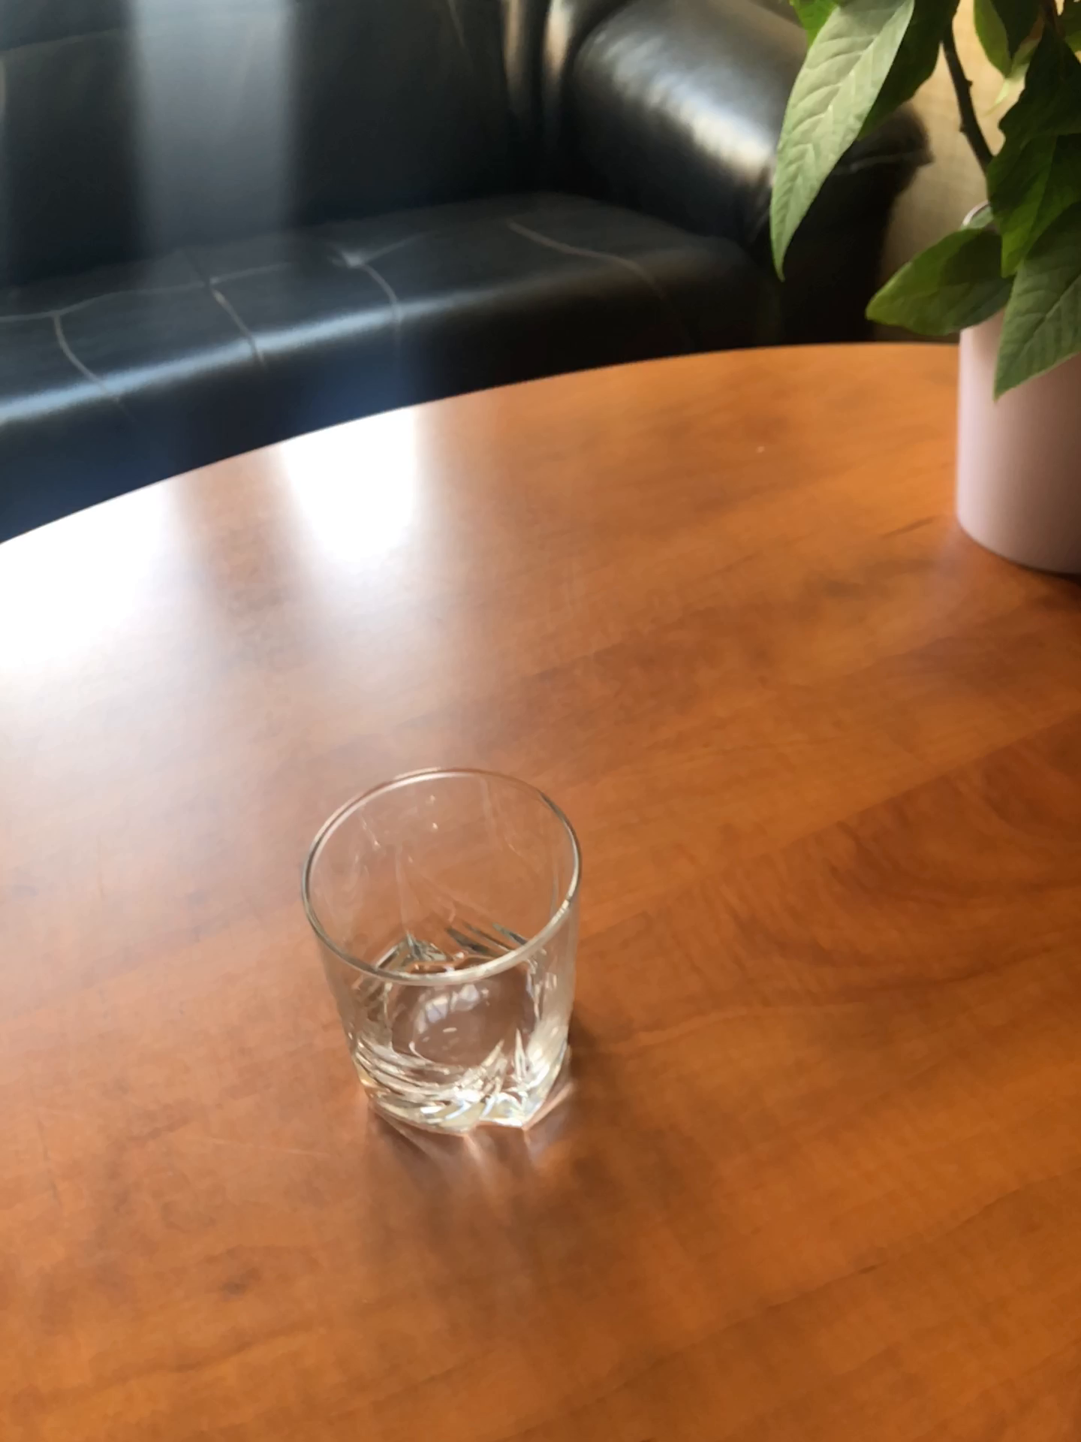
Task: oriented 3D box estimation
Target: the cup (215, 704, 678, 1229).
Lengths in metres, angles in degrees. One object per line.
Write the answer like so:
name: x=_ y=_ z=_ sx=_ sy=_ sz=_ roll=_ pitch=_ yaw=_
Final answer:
cup: x=-0.025 y=0.070 z=0.364 sx=0.095 sy=0.086 sz=0.089 roll=-2 pitch=41 yaw=1
